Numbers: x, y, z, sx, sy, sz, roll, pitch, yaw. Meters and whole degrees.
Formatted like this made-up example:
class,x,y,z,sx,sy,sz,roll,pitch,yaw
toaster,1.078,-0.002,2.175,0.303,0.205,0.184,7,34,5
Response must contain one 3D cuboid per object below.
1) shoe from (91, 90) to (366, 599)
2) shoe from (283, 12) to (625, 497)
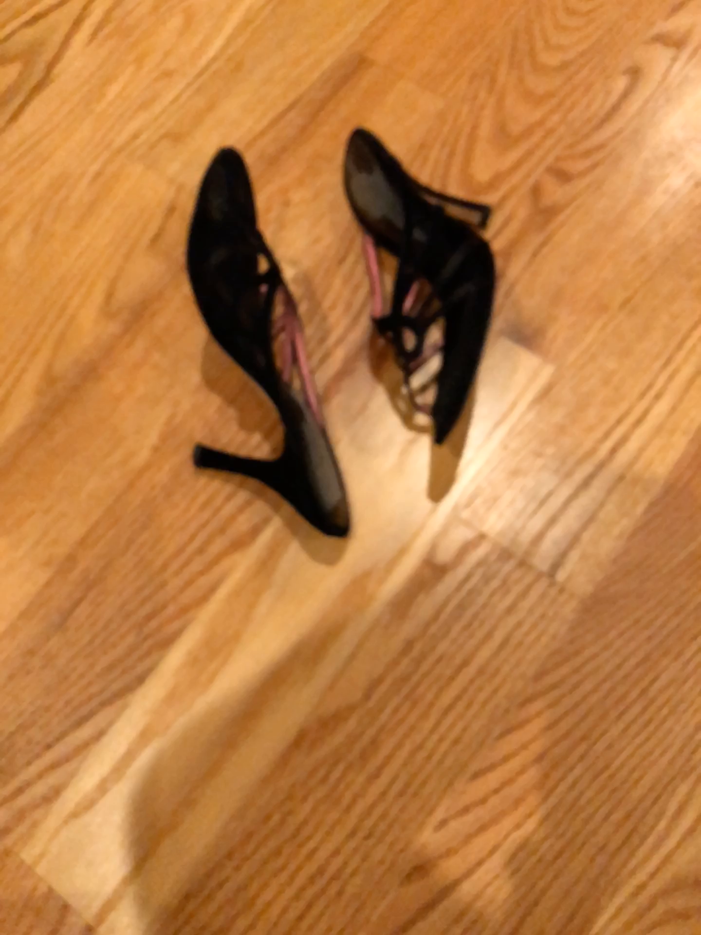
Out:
class,x,y,z,sx,sy,sz,roll,pitch,yaw
shoe,-0.063,-0.063,0.422,0.082,0.104,0.236,-15,70,-2
shoe,0.047,-0.112,0.429,0.102,0.104,0.216,-16,70,0
